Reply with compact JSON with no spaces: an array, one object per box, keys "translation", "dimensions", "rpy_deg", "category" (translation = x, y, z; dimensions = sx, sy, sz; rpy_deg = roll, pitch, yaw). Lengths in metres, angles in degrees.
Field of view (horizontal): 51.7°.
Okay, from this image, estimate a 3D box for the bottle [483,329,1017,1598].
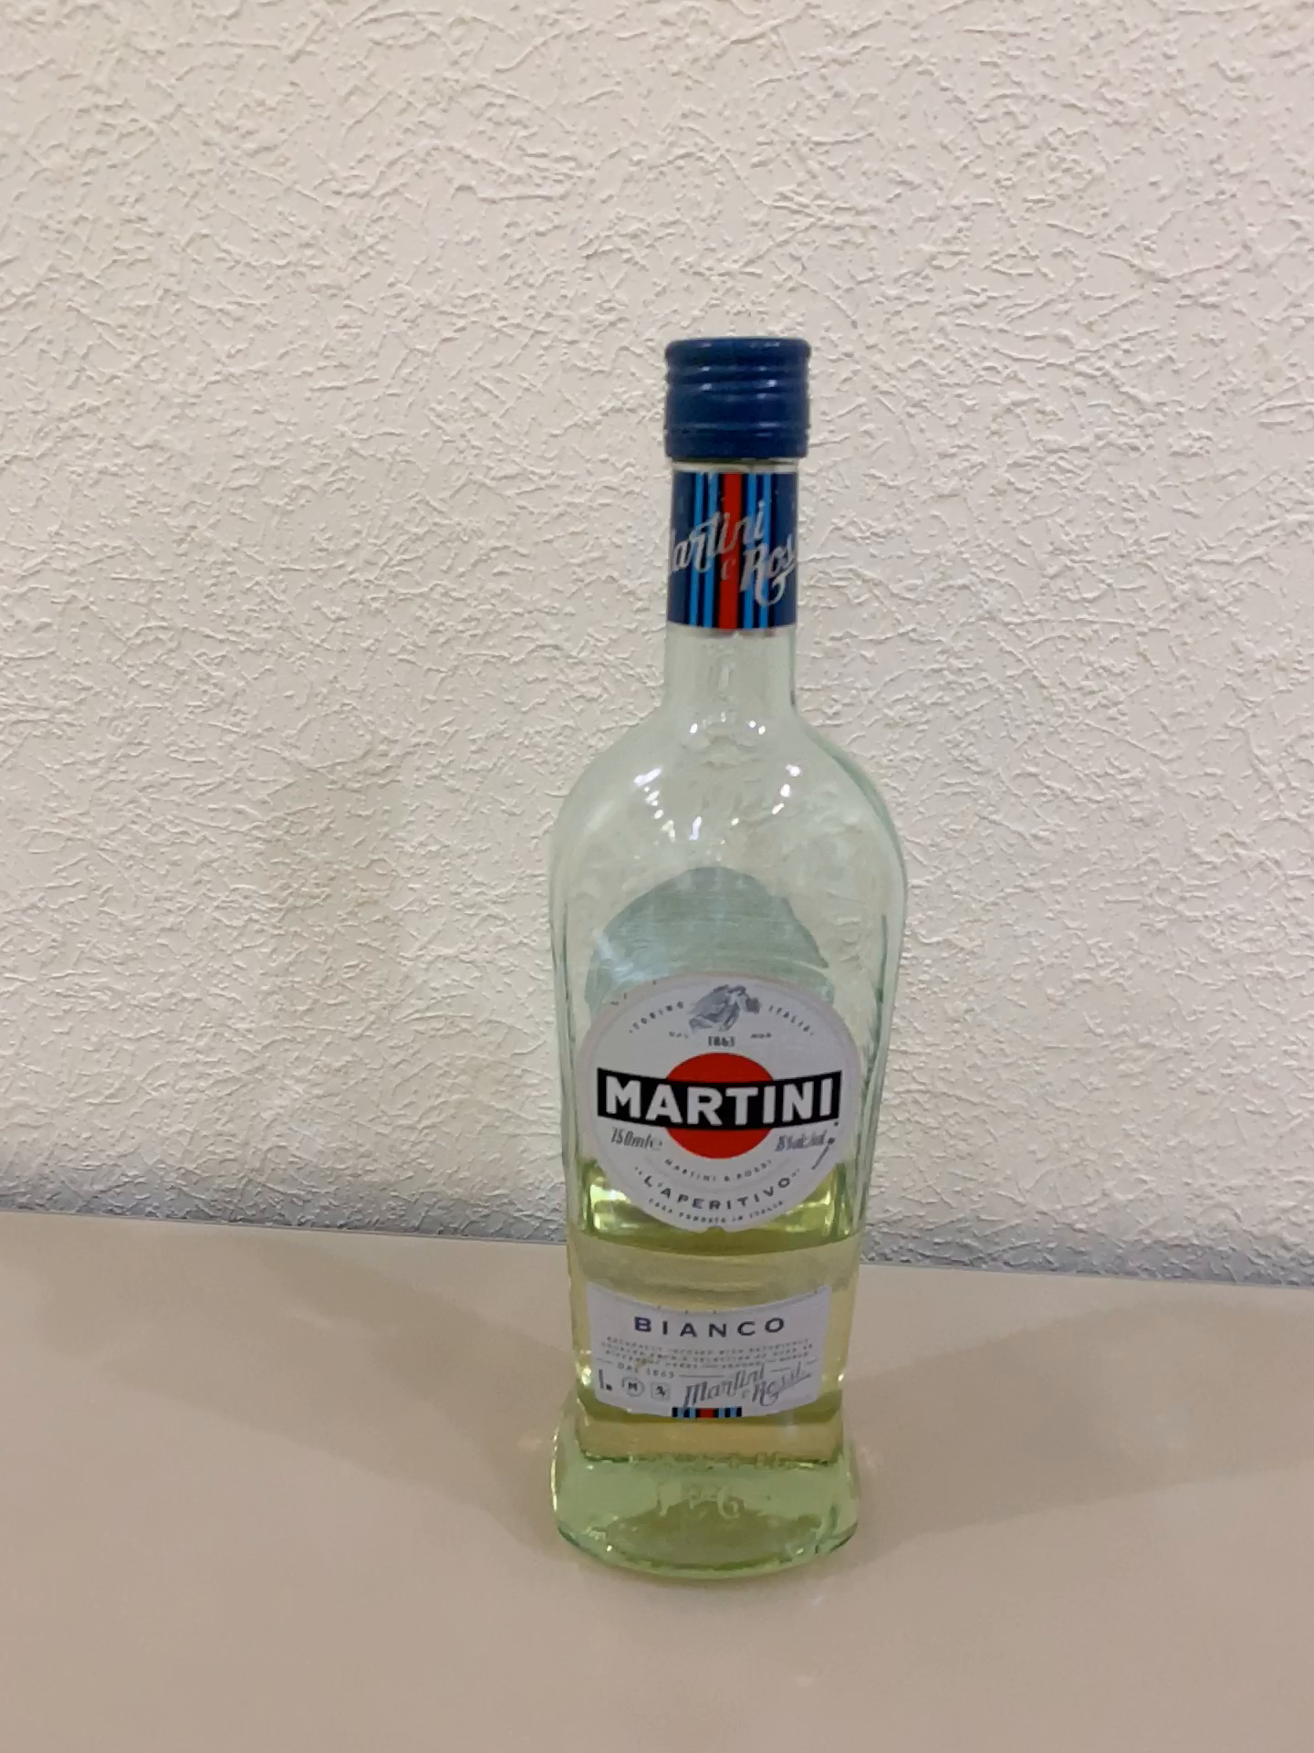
[{"translation":[0.015,0.030,0.343],"dimensions":[0.100,0.309,0.080],"rpy_deg":[1,19,-1],"category":"bottle"}]
